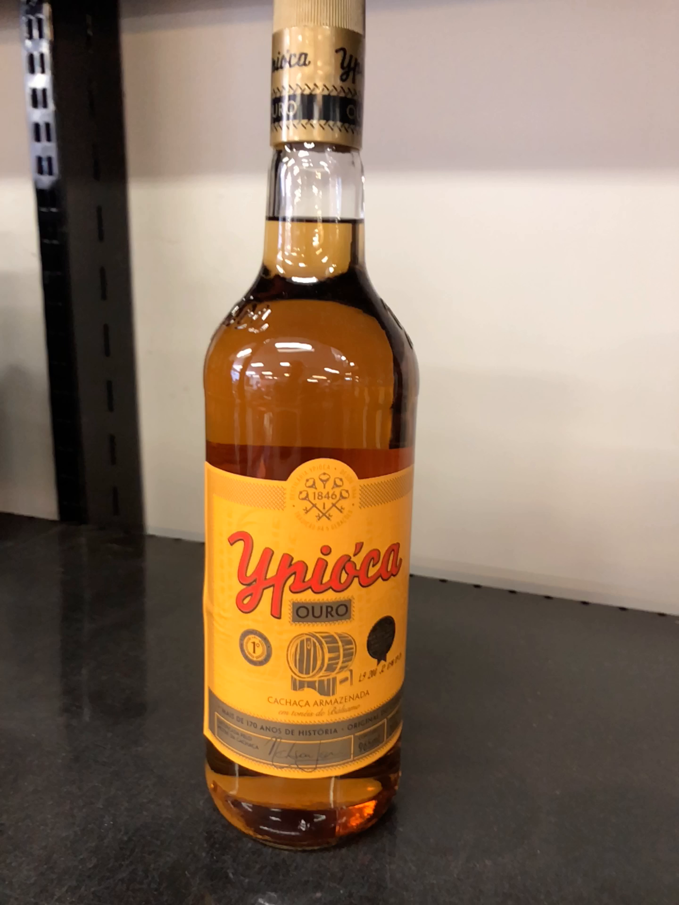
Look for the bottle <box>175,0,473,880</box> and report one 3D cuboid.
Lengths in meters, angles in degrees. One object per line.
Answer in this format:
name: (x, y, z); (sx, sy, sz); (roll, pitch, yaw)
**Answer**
bottle: (-0.012, -0.005, 0.273); (0.080, 0.308, 0.070); (0, 15, -8)
